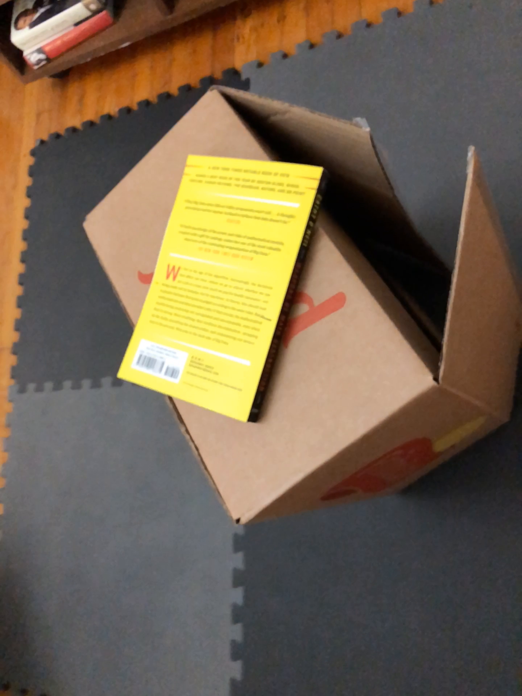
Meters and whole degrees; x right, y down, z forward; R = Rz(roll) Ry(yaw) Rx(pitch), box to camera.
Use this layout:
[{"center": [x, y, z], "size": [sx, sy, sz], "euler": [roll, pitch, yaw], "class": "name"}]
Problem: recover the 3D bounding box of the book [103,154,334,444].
[{"center": [-0.041, -0.049, 0.486], "size": [0.150, 0.020, 0.220], "euler": [15, 88, 31], "class": "book"}]
